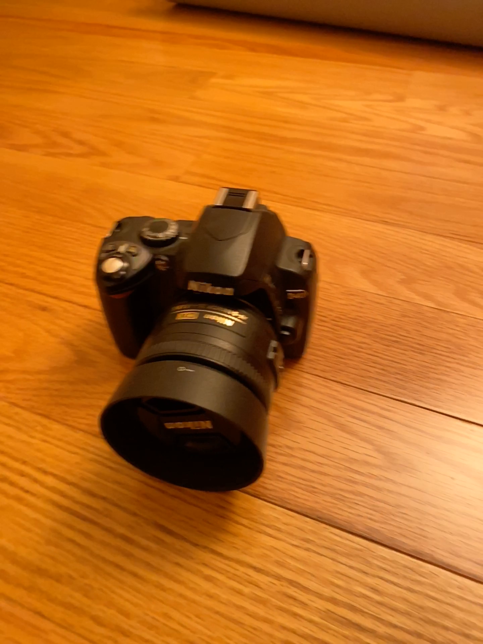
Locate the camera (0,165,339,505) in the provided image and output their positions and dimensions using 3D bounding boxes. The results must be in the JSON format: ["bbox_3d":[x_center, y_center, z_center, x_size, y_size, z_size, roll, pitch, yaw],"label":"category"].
[{"bbox_3d":[-0.026,-0.004,0.257,0.130,0.079,0.141,8,47,10],"label":"camera"}]
